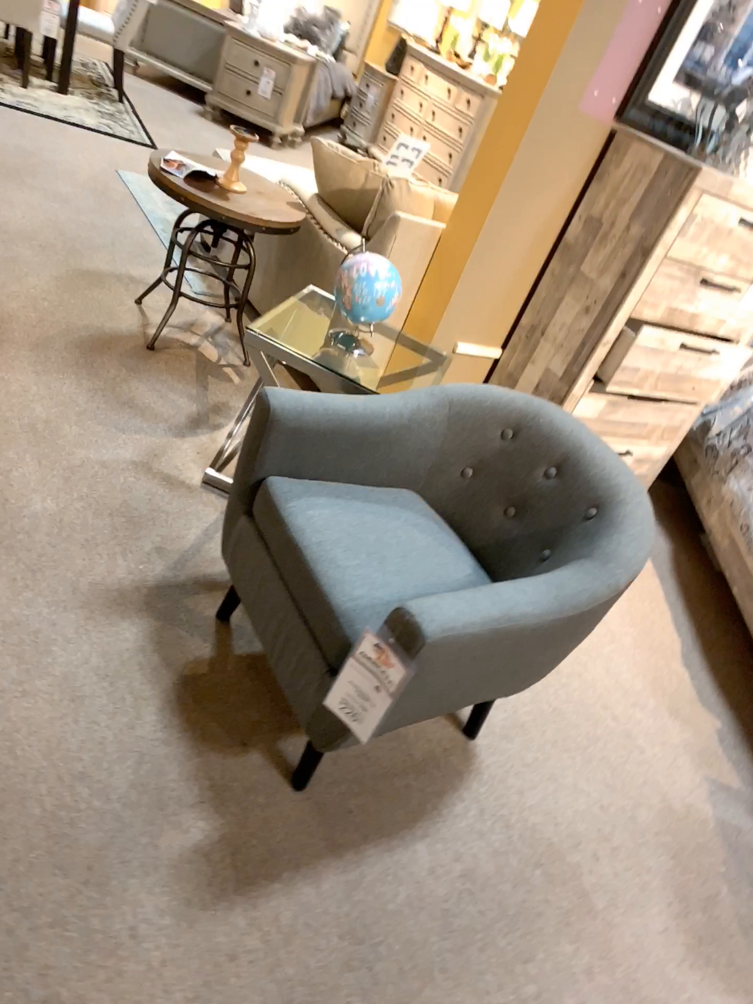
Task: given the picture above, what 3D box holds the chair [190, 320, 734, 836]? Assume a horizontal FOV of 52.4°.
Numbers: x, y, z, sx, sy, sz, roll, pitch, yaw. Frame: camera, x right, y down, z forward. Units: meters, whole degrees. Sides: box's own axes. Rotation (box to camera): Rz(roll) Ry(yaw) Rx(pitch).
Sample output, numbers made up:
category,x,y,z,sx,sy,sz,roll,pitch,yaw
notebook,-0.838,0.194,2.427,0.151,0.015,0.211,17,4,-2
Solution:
category,x,y,z,sx,sy,sz,roll,pitch,yaw
chair,0.118,0.132,1.734,0.743,0.701,0.749,0,39,-34
